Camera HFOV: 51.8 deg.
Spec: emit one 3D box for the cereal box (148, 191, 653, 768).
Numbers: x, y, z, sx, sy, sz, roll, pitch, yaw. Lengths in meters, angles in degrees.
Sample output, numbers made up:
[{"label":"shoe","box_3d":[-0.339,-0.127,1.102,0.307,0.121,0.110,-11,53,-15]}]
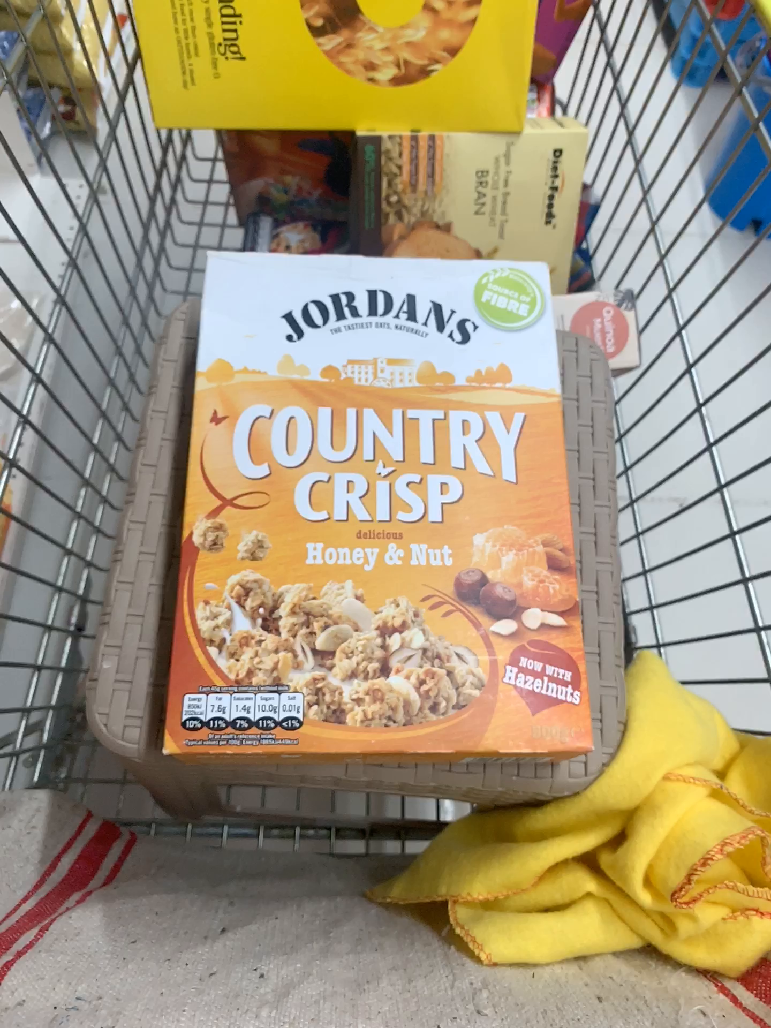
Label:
[{"label":"cereal box","box_3d":[0.006,-0.018,0.383,0.190,0.080,0.260,2,69,-3]}]
